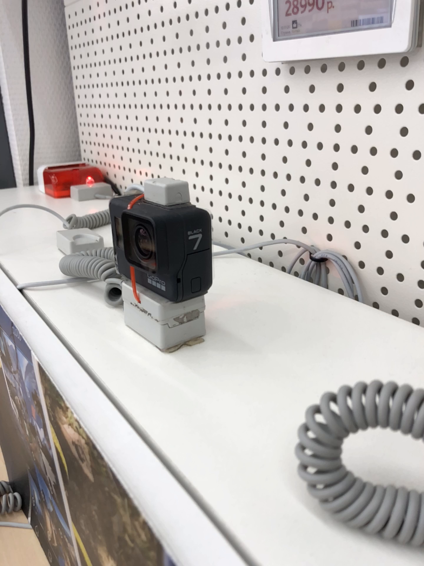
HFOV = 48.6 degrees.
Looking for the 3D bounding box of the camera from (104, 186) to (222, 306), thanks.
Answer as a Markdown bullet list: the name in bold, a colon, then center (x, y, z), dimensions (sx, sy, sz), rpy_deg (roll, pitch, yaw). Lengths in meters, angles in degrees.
- **camera**: center (-0.027, -0.023, 0.245), dimensions (0.029, 0.044, 0.067), rpy_deg (-16, 26, -34)
